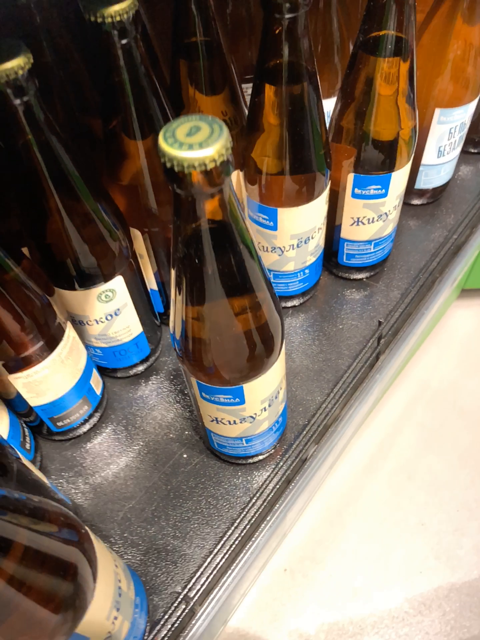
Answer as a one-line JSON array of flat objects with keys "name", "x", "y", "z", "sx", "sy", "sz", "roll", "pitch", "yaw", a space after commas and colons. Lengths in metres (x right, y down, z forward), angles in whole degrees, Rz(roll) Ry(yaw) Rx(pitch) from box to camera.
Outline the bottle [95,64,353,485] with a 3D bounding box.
[{"name": "bottle", "x": -0.002, "y": 0.004, "z": 0.298, "sx": 0.070, "sy": 0.249, "sz": 0.070, "roll": -2, "pitch": 55, "yaw": 2}]
